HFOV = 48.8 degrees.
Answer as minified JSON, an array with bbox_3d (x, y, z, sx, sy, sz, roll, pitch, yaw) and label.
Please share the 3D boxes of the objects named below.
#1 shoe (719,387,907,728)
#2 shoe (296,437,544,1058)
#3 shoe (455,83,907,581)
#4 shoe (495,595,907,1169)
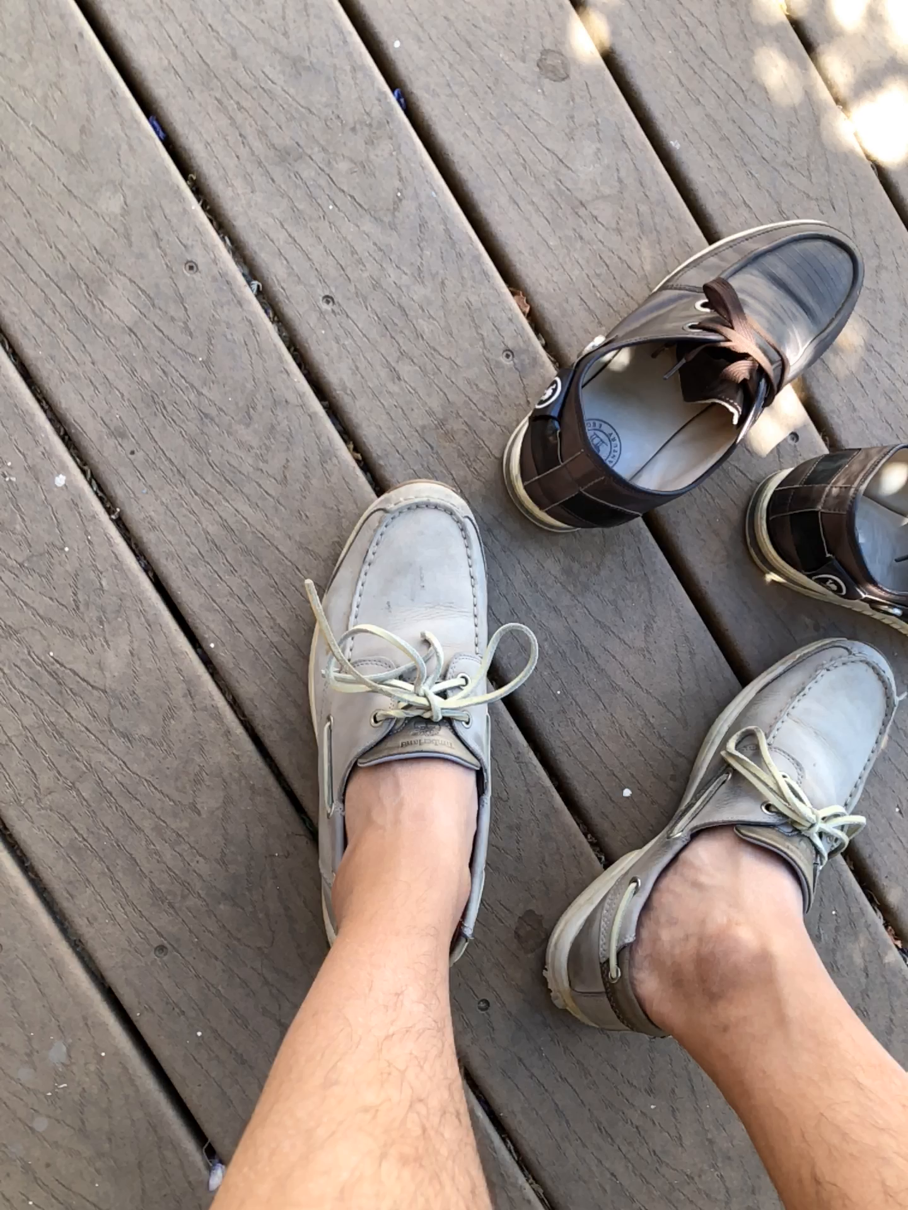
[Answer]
[{"bbox_3d":[0.342,-0.021,0.633,0.303,0.111,0.110,18,83,-11],"label":"shoe"},{"bbox_3d":[-0.023,0.072,0.557,0.110,0.111,0.303,3,86,-12],"label":"shoe"},{"bbox_3d":[0.160,-0.157,0.604,0.303,0.111,0.110,-41,95,-11],"label":"shoe"},{"bbox_3d":[0.175,0.147,0.595,0.110,0.111,0.303,42,80,-7],"label":"shoe"}]
